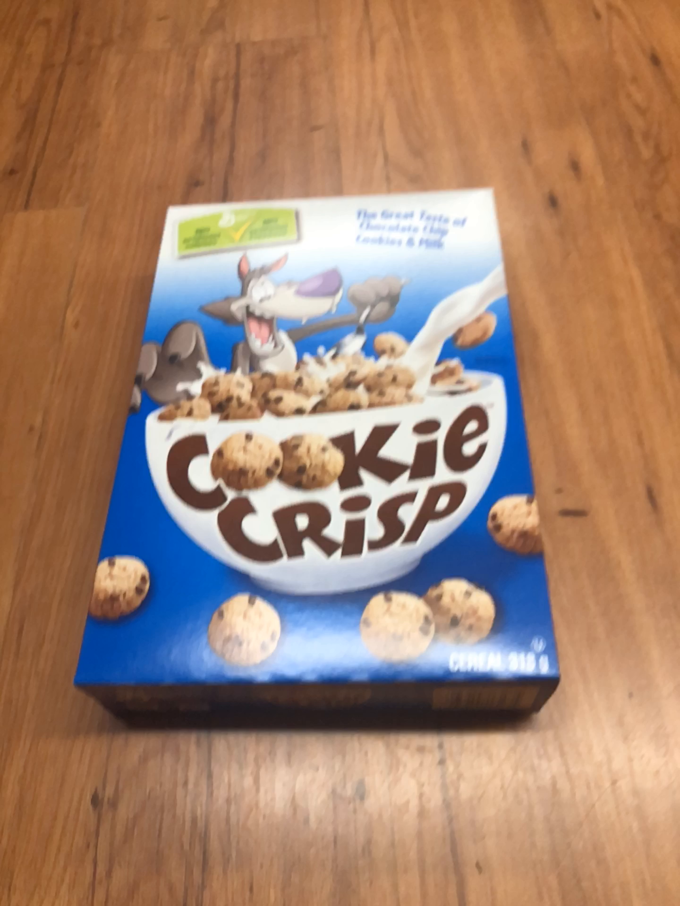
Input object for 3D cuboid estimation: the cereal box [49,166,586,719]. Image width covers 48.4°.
[{"bbox_3d":[-0.007,-0.020,0.377,0.200,0.060,0.281,-1,59,4],"label":"cereal box"}]
